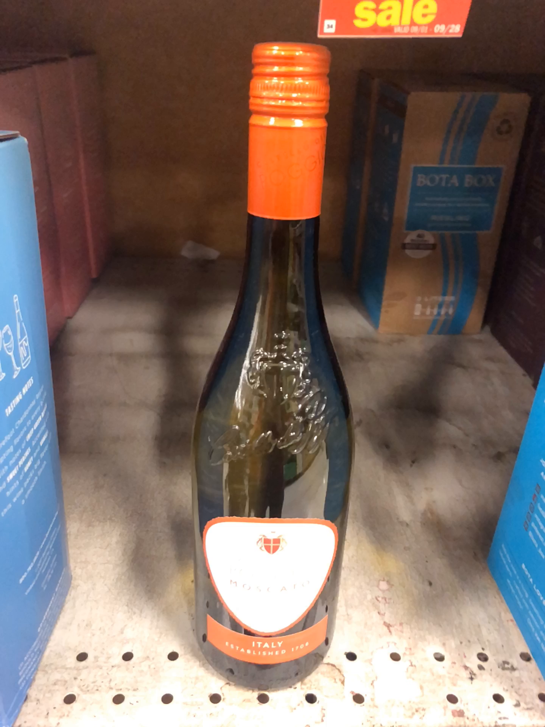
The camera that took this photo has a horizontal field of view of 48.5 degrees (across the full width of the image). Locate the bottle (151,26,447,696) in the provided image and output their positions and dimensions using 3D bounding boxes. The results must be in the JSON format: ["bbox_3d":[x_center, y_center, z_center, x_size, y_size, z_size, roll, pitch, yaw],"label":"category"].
[{"bbox_3d":[0.000,0.024,0.268,0.080,0.299,0.070,0,31,-4],"label":"bottle"}]
